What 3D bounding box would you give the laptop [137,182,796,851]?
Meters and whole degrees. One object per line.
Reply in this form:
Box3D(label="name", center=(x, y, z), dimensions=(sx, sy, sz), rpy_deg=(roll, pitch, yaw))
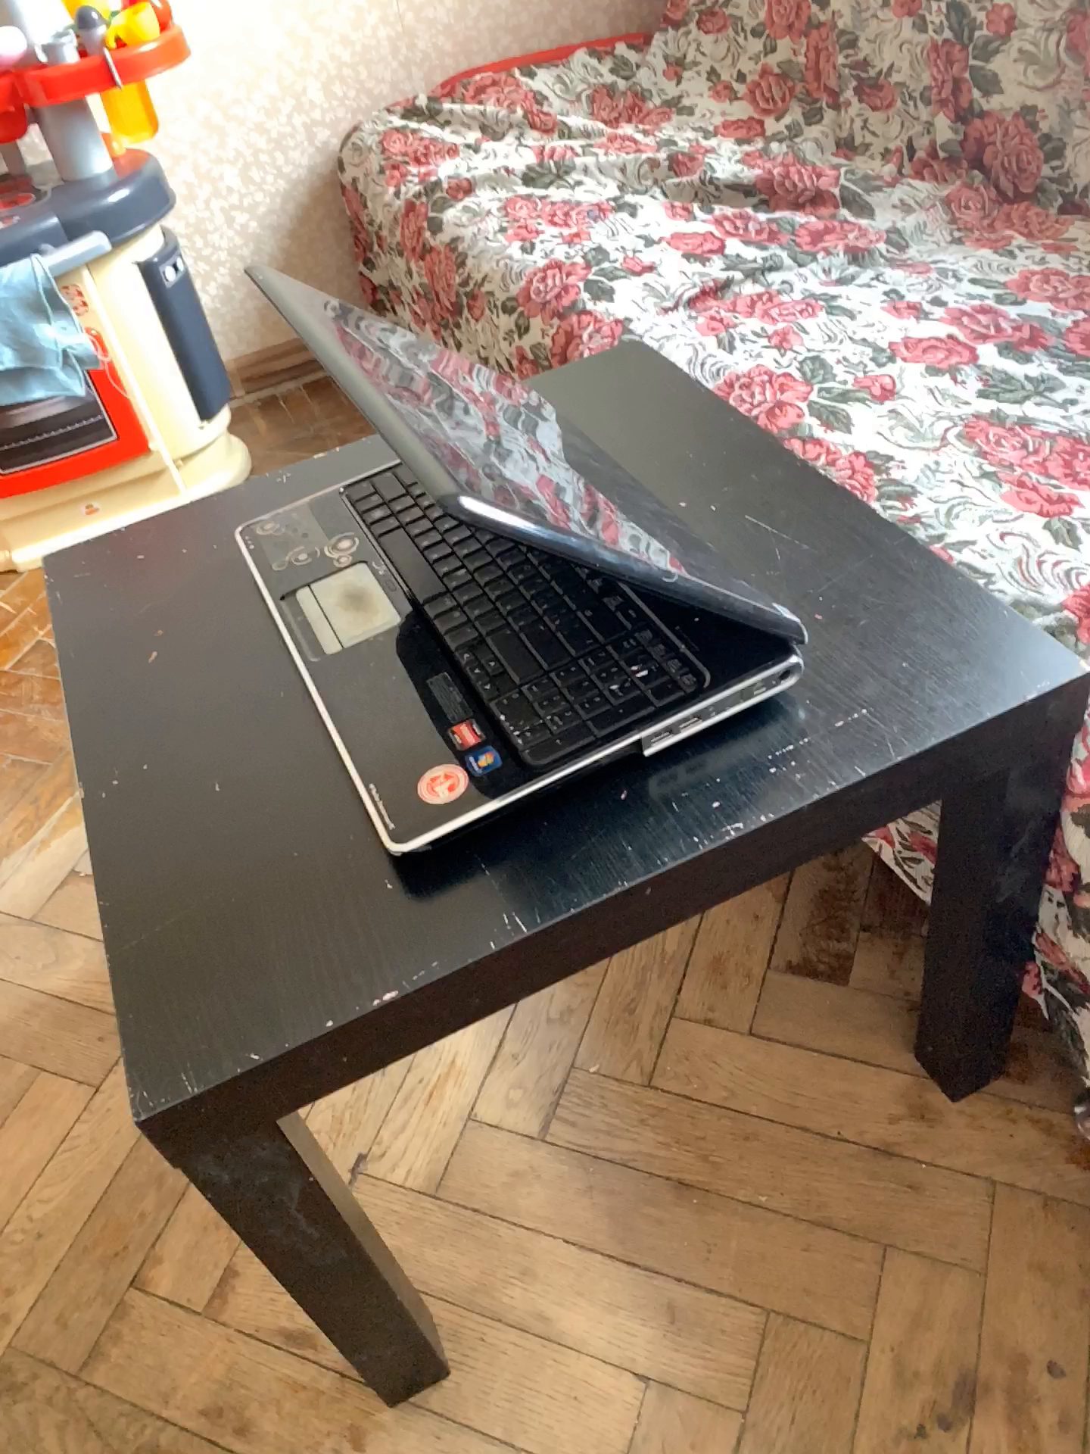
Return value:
Box3D(label="laptop", center=(-0.062, -0.155, 0.665), dimensions=(0.251, 0.176, 0.367), rpy_deg=(-24, 43, -11))
